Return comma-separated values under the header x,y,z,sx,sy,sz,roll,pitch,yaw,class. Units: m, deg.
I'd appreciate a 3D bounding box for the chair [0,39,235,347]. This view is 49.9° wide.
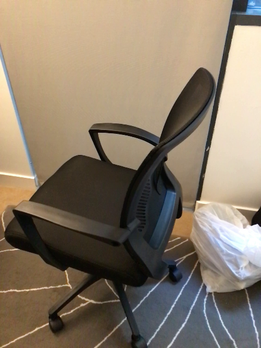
x,y,z,sx,sy,sz,roll,pitch,yaw,class
-0.118,0.096,1.180,0.790,0.992,0.836,13,40,17,chair
